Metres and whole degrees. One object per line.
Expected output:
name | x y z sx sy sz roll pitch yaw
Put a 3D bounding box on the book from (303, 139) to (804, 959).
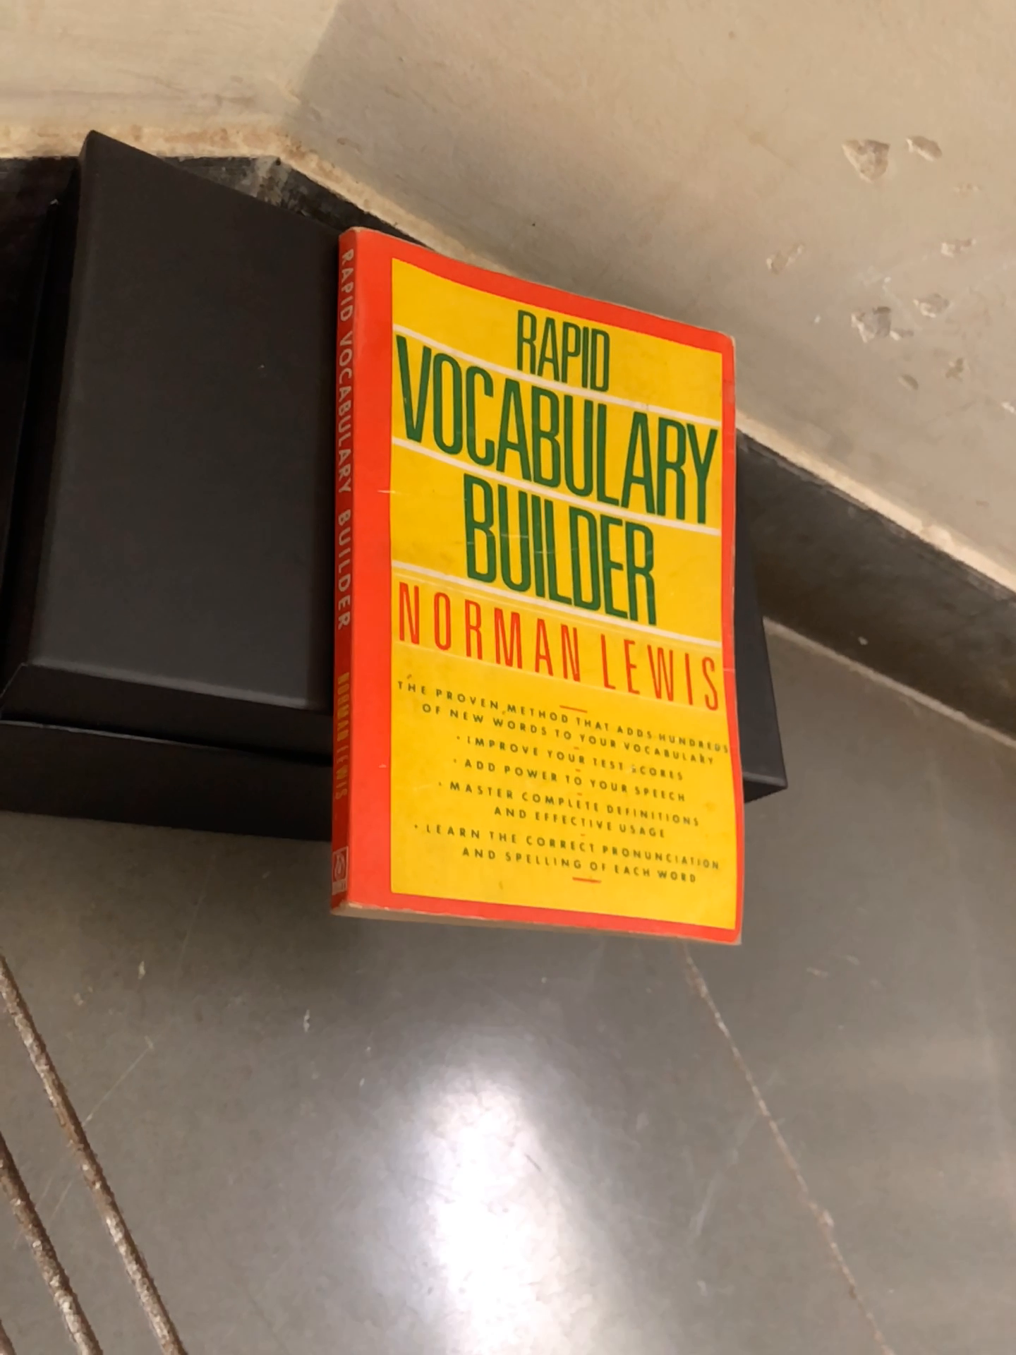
book | 0.015 -0.039 0.344 0.141 0.030 0.230 14 62 -30
